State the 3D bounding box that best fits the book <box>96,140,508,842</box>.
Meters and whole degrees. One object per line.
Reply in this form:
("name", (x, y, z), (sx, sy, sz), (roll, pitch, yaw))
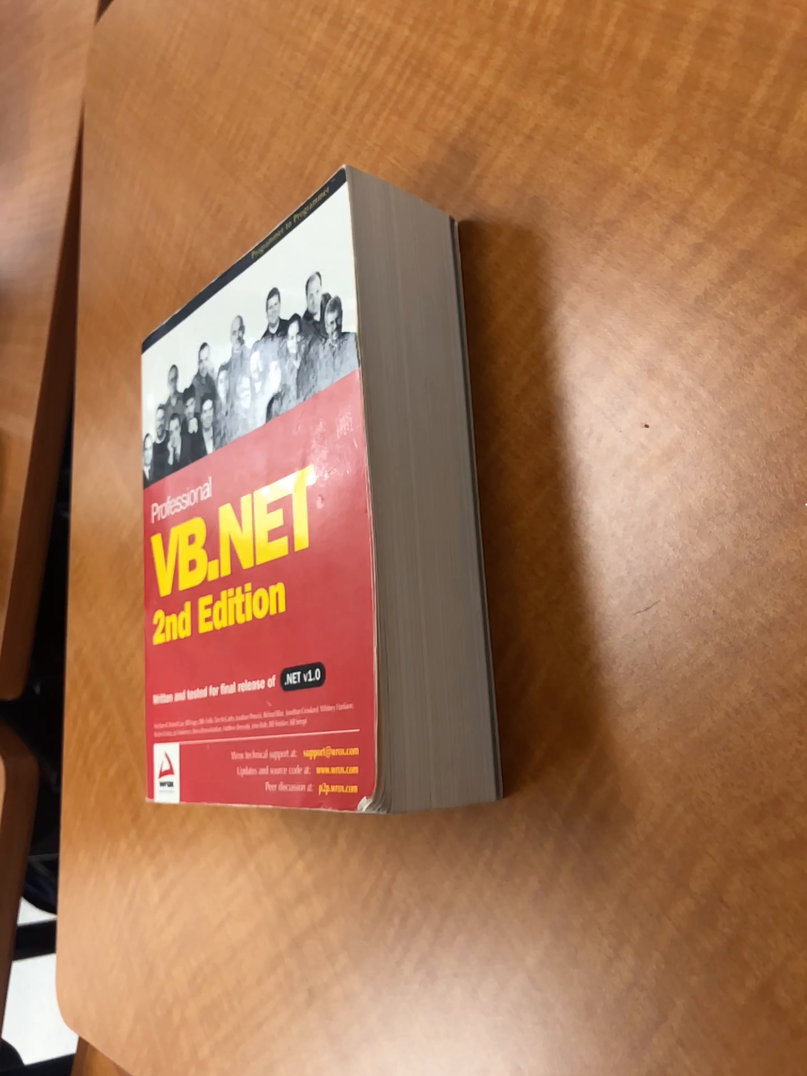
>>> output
("book", (-0.058, -0.002, 0.377), (0.201, 0.060, 0.230), (-17, 71, 48))
